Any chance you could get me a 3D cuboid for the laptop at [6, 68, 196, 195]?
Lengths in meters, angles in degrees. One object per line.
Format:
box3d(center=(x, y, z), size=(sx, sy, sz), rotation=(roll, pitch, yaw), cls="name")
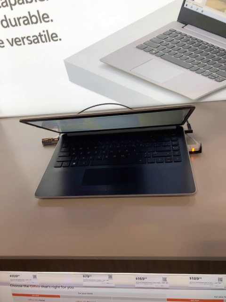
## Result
box3d(center=(-0.006, -0.045, 0.524), size=(0.302, 0.155, 0.226), rotation=(-3, 36, 11), cls="laptop")
